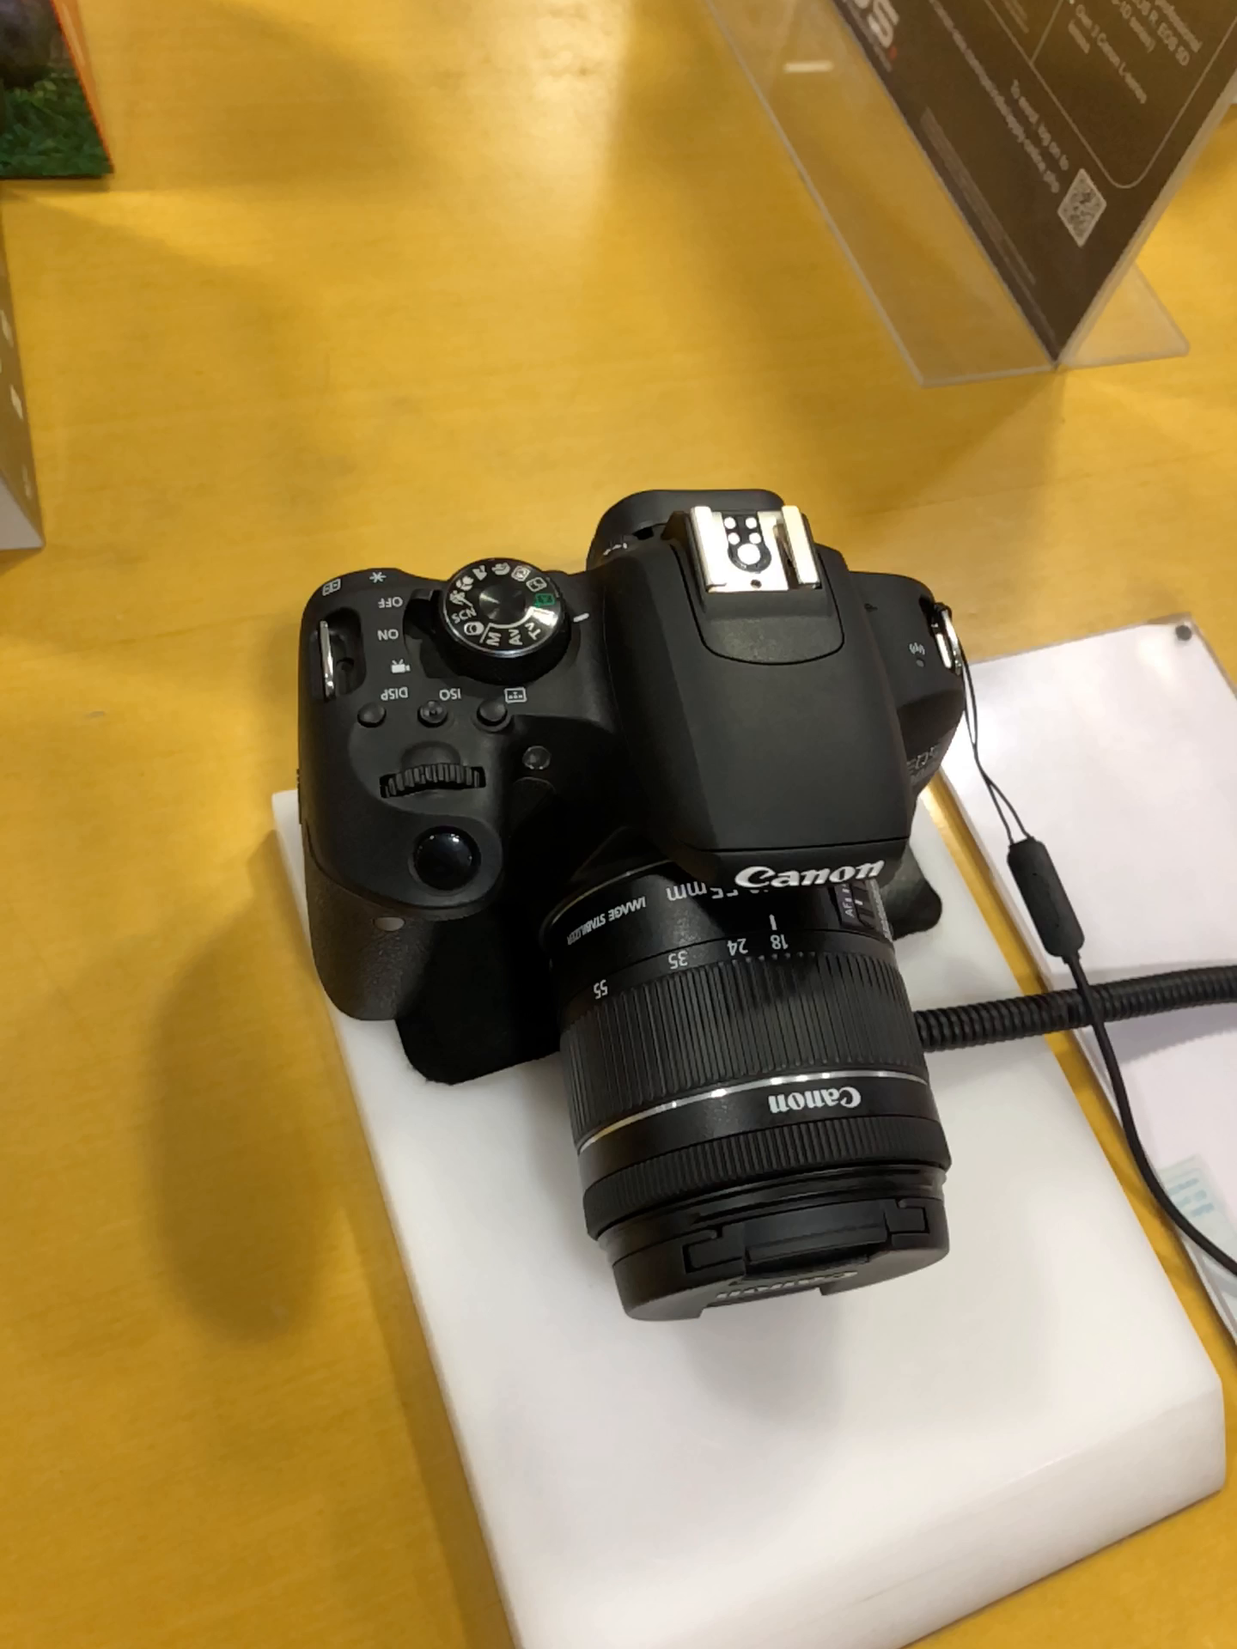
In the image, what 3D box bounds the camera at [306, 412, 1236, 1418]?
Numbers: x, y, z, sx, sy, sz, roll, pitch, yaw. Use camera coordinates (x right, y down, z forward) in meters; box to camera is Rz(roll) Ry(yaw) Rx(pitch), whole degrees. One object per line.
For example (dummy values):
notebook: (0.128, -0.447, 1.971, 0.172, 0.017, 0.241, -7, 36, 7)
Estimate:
camera: (0.015, 0.014, 0.228, 0.120, 0.090, 0.130, -4, 64, -15)
